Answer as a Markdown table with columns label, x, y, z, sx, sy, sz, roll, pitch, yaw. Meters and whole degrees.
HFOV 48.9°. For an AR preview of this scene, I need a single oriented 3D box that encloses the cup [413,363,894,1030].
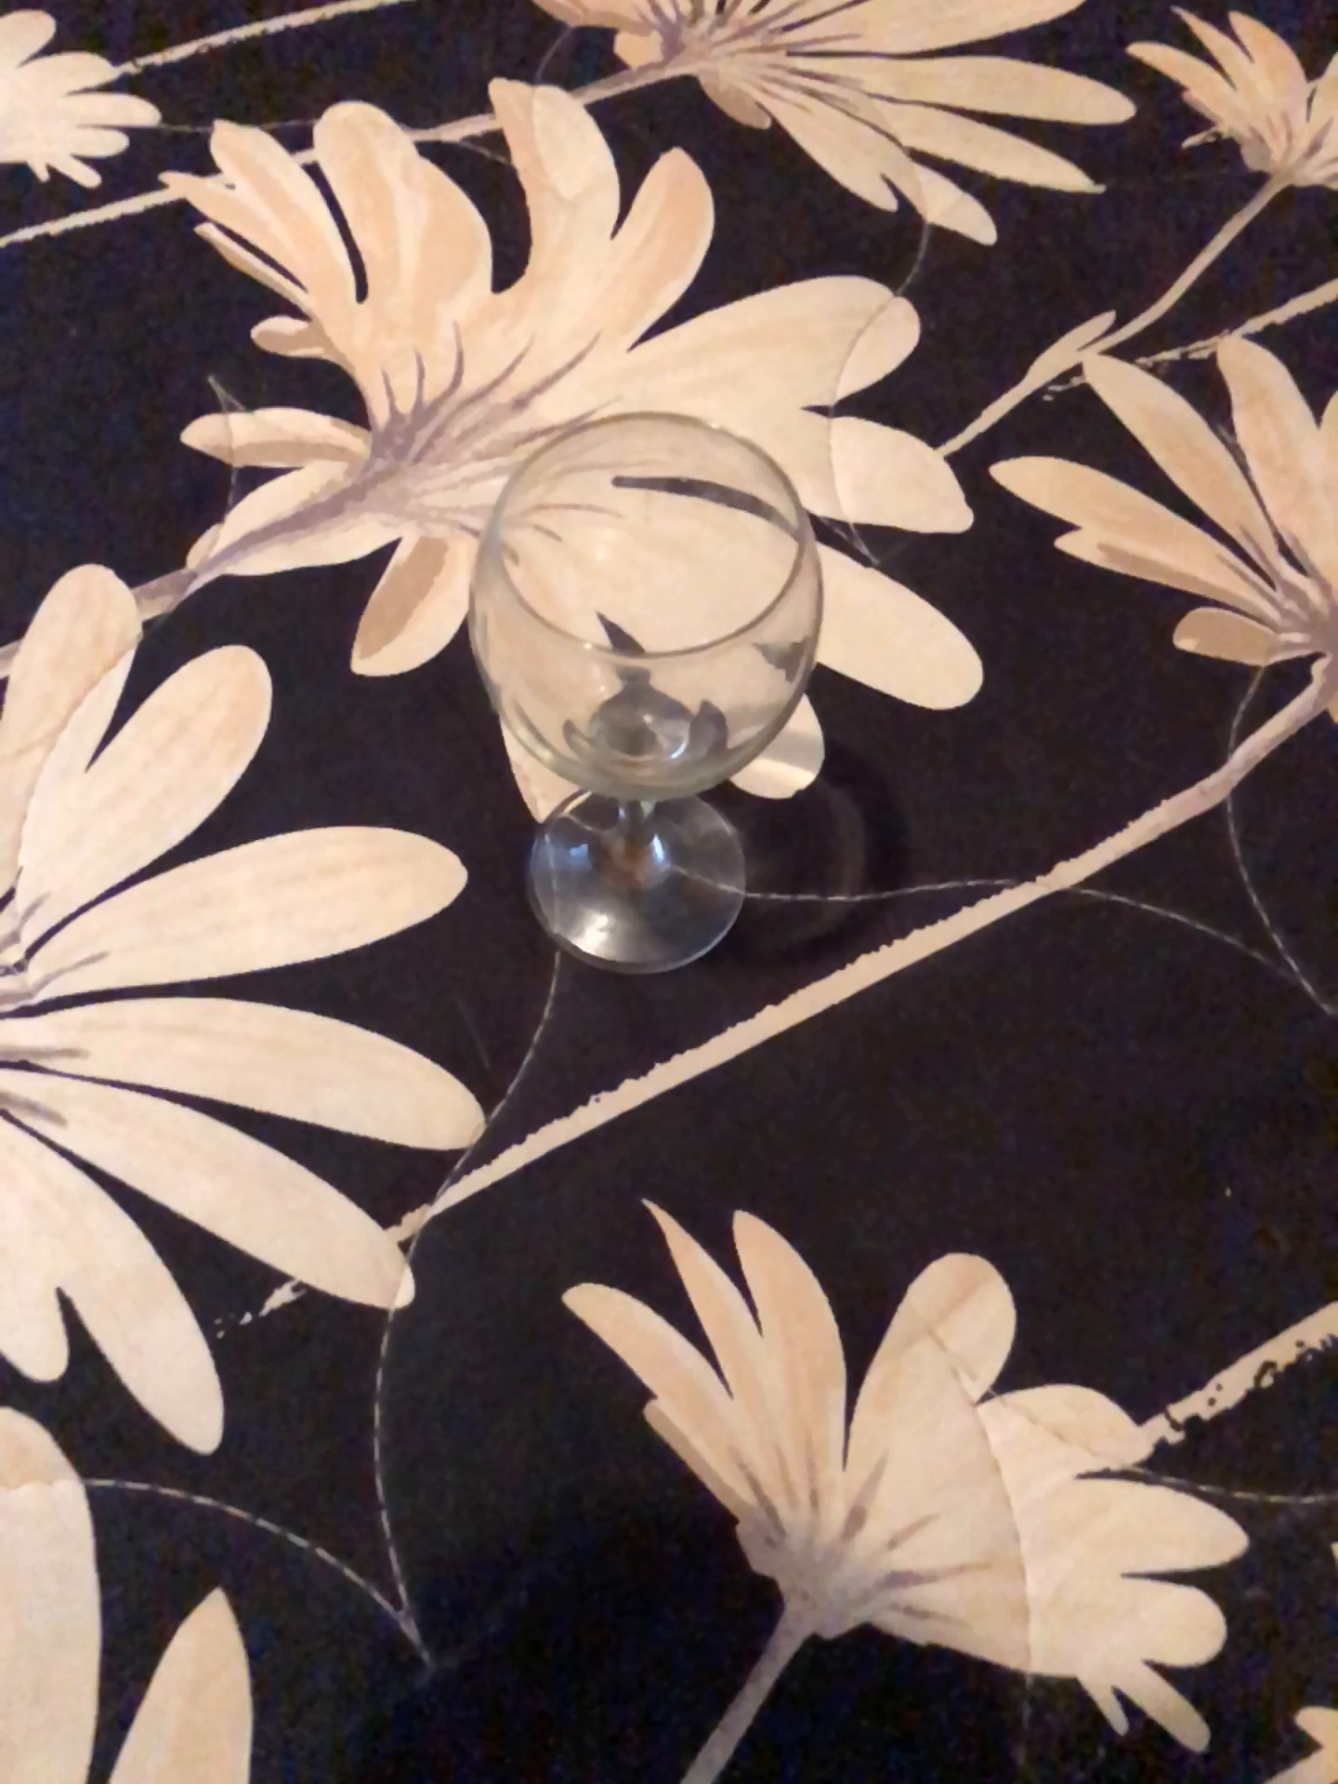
| label | x | y | z | sx | sy | sz | roll | pitch | yaw |
| --- | --- | --- | --- | --- | --- | --- | --- | --- | --- |
| cup | -0.007 | -0.038 | 0.351 | 0.082 | 0.139 | 0.084 | 1 | 63 | -1 |
